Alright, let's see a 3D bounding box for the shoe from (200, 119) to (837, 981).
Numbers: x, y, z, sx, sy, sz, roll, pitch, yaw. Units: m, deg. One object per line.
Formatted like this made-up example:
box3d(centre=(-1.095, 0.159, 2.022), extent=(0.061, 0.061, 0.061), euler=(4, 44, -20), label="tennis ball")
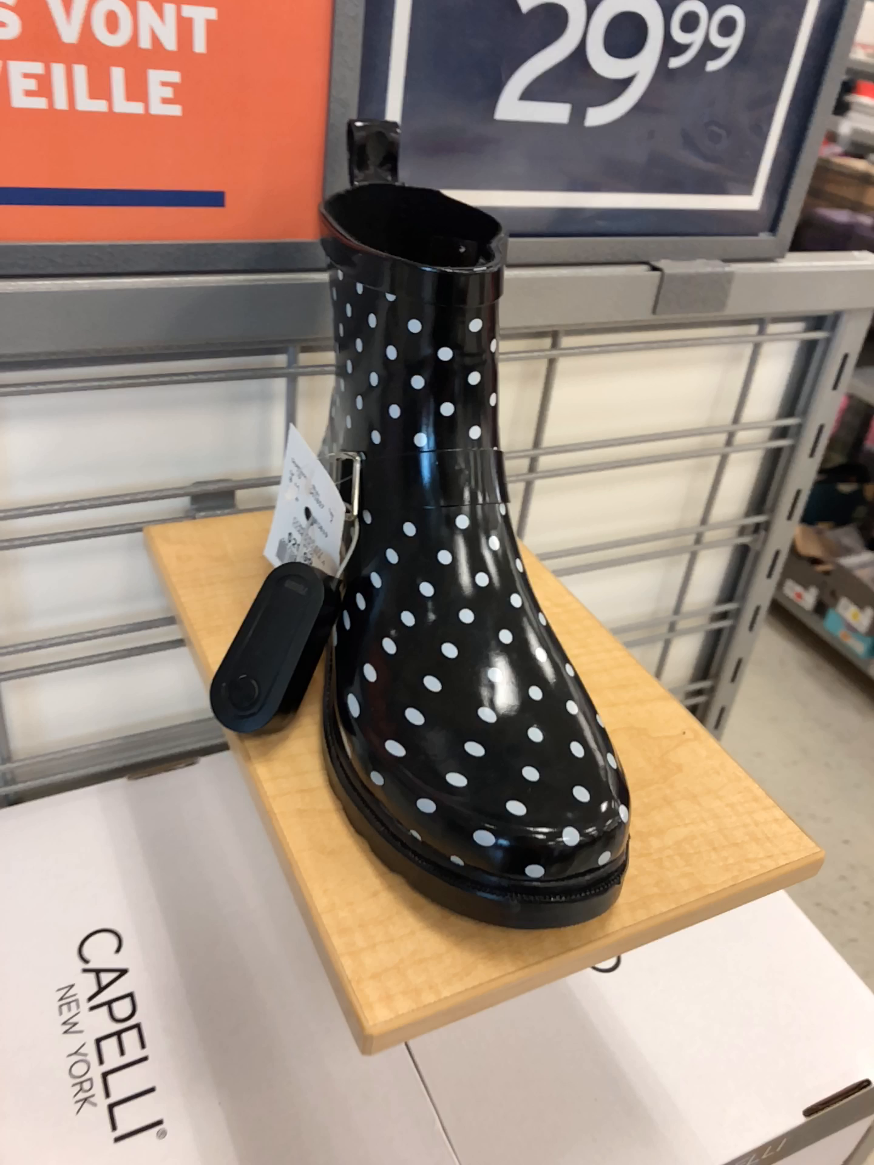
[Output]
box3d(centre=(-0.012, -0.038, 0.352), extent=(0.095, 0.188, 0.262), euler=(-7, 36, -21), label="shoe")
